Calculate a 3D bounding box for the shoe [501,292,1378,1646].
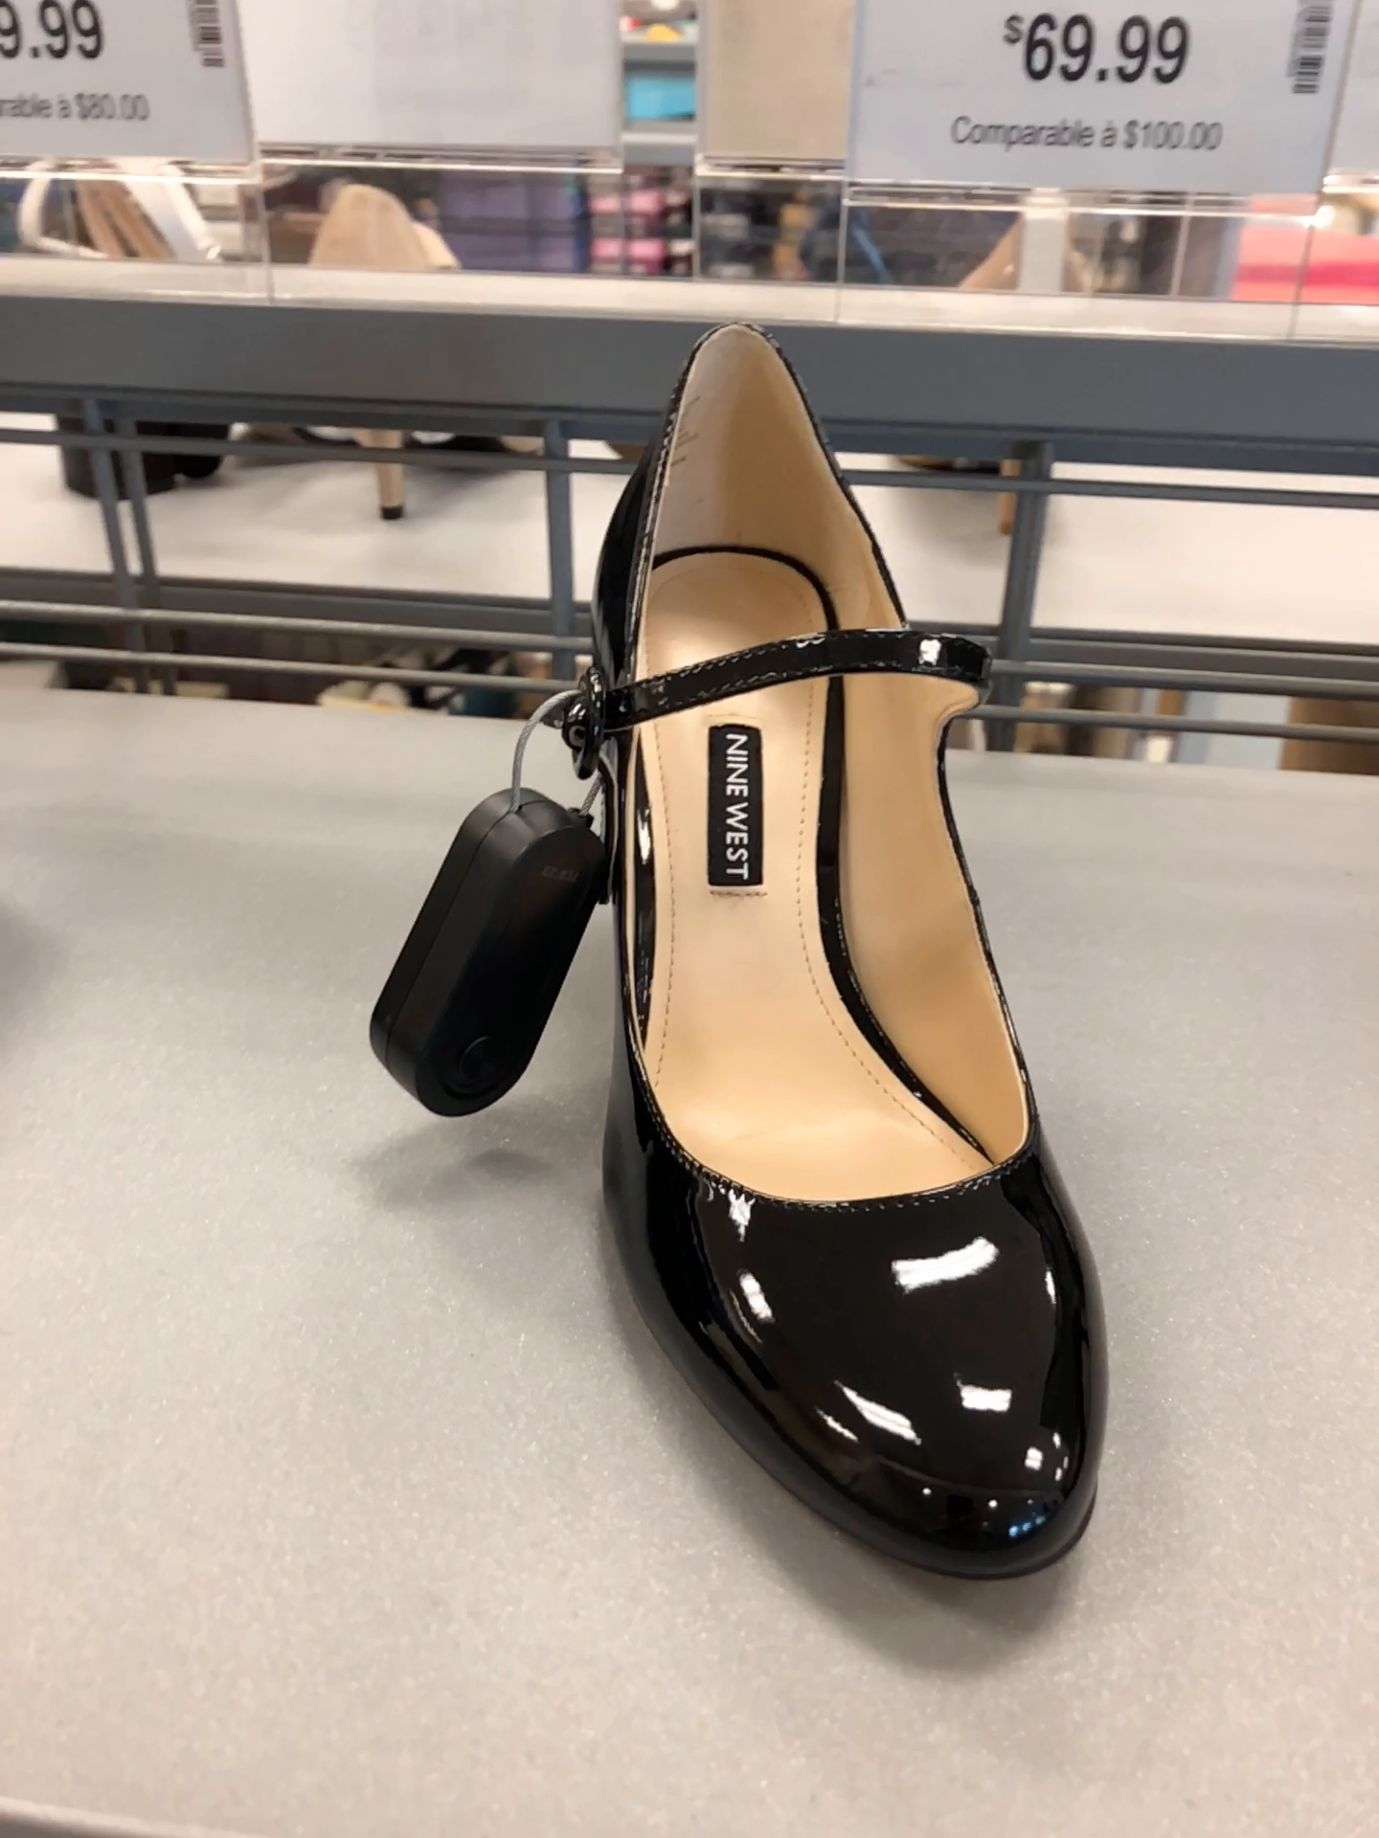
[{"bbox_3d":[0.021,-0.024,0.310,0.090,0.151,0.258,-5,32,-10],"label":"shoe"}]
